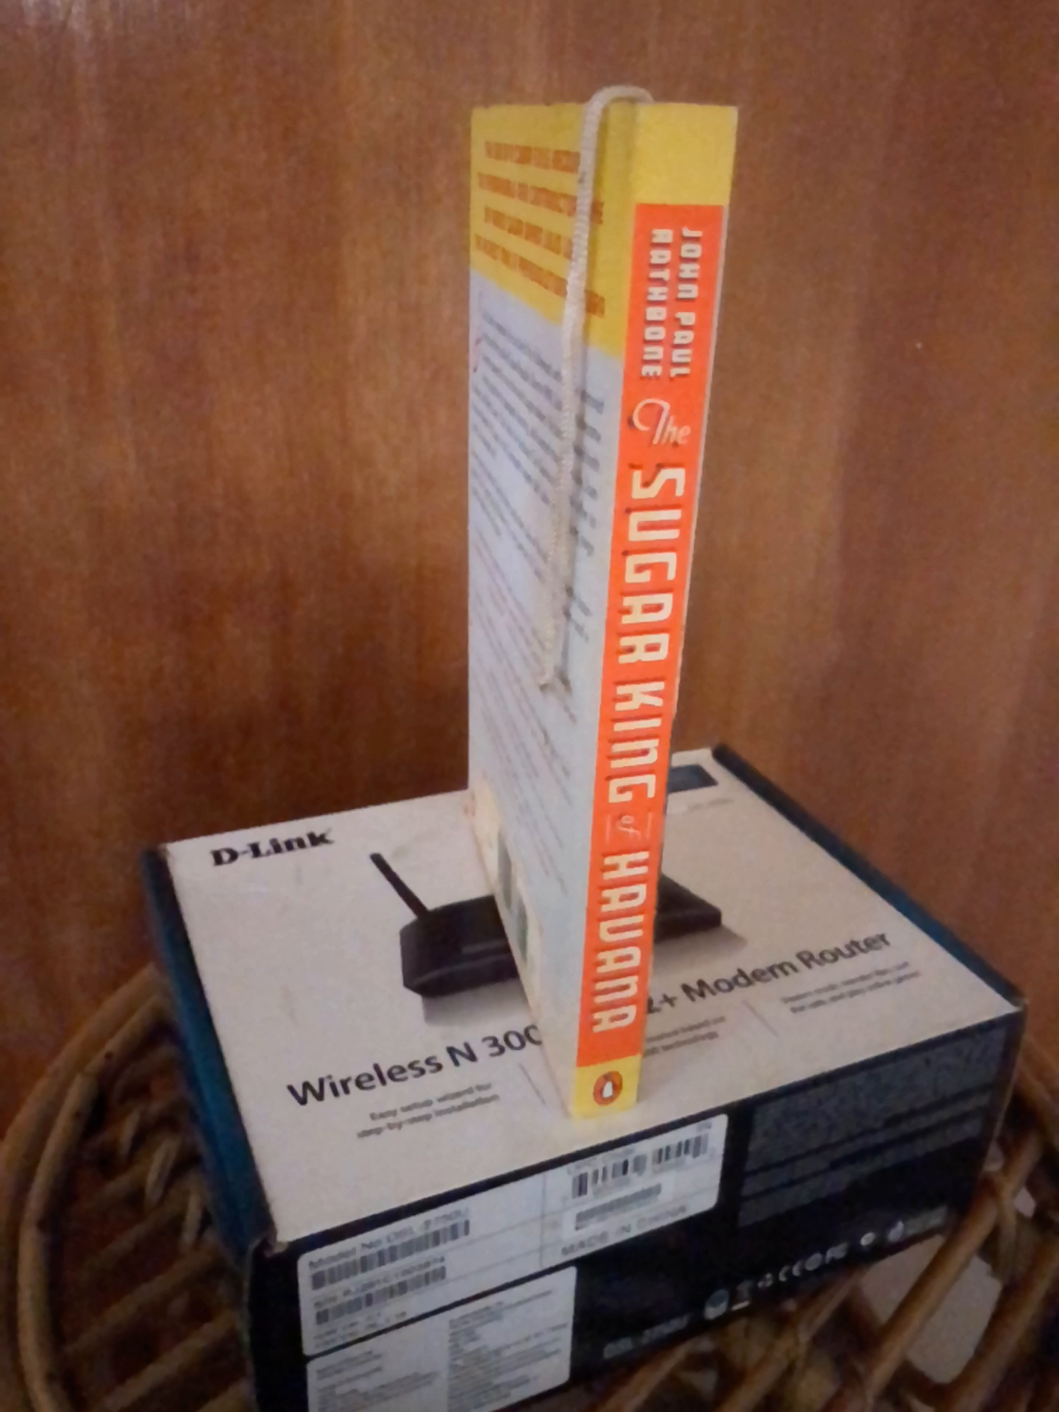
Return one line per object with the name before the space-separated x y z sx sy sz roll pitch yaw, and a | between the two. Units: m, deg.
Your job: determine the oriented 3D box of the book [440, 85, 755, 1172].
book | 0.004 -0.027 0.278 0.030 0.209 0.151 -4 28 -8
